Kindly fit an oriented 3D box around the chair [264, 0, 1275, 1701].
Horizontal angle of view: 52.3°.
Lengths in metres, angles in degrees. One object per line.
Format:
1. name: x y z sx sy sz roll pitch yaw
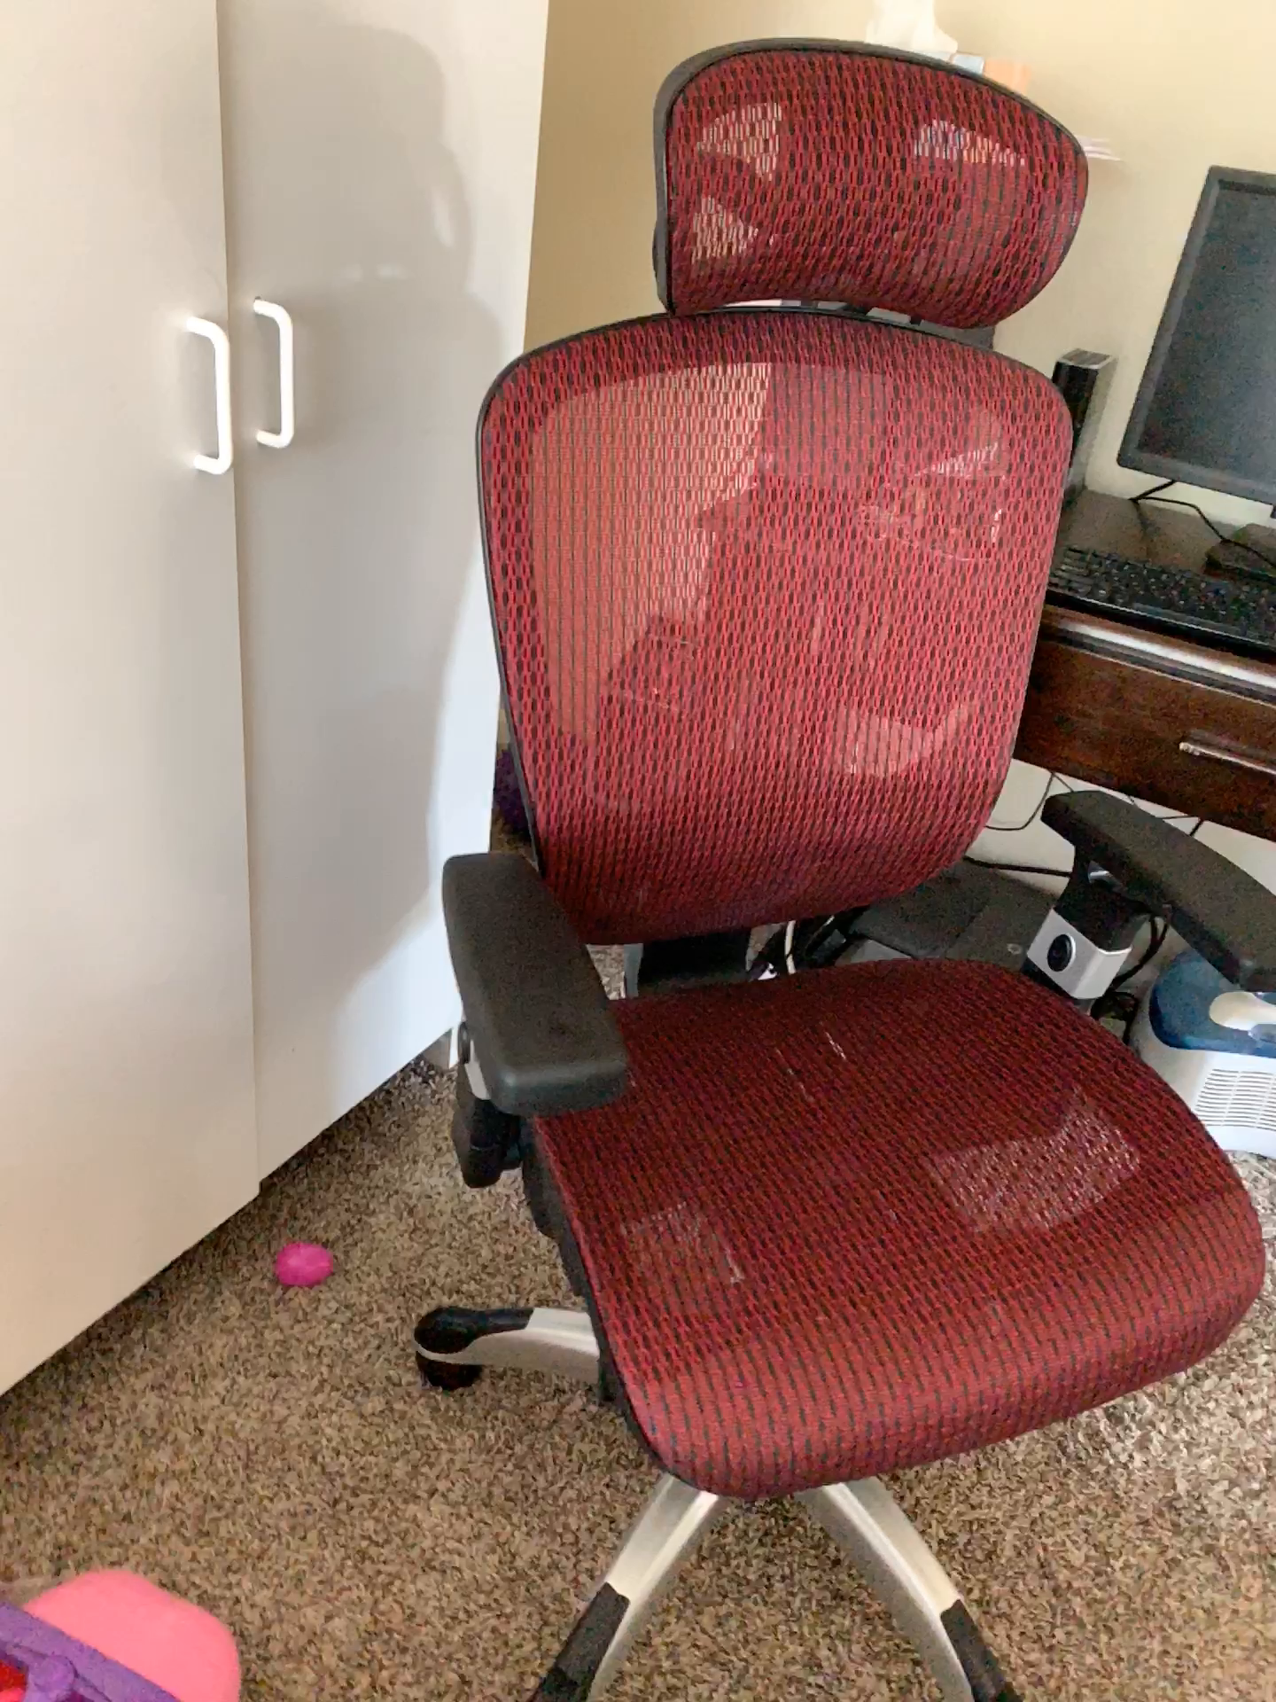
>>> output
1. chair: 0.155 0.075 0.977 0.731 1.155 0.813 -5 33 -19
